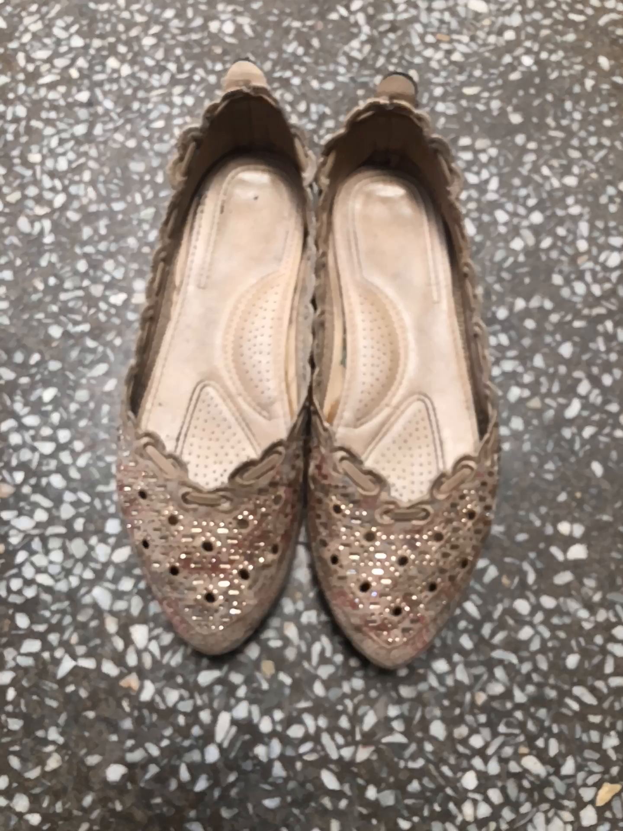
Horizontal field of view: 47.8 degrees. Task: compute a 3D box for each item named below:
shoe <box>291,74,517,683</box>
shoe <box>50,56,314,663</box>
[{"bbox_3d":[0.043,-0.023,0.327,0.090,0.040,0.270,3,78,-2],"label":"shoe"},{"bbox_3d":[-0.051,-0.035,0.330,0.090,0.040,0.280,3,74,-2],"label":"shoe"}]
